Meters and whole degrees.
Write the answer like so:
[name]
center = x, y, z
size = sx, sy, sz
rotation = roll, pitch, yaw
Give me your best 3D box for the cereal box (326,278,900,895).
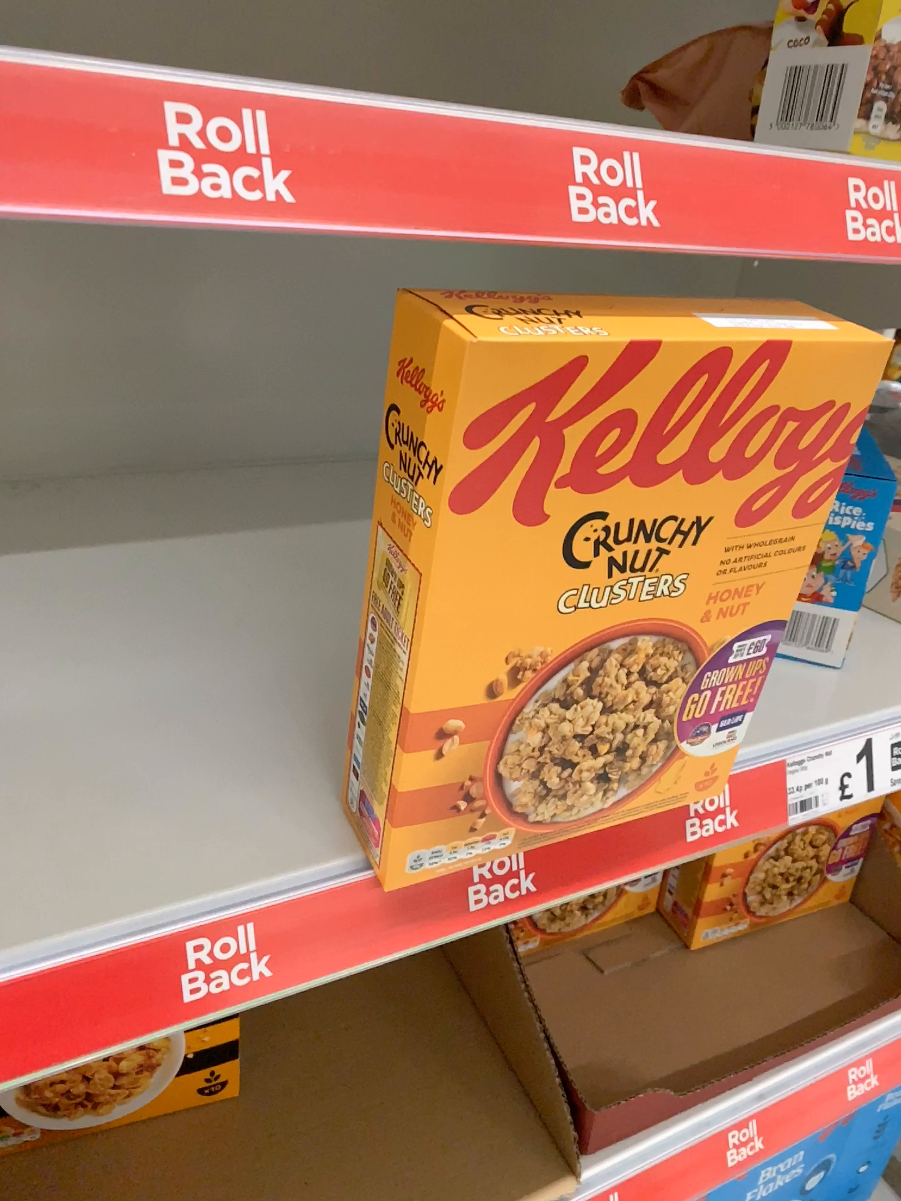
[cereal box]
center = 0.061, -0.007, 0.390
size = 0.201, 0.228, 0.060
rotation = -8, 33, -28
